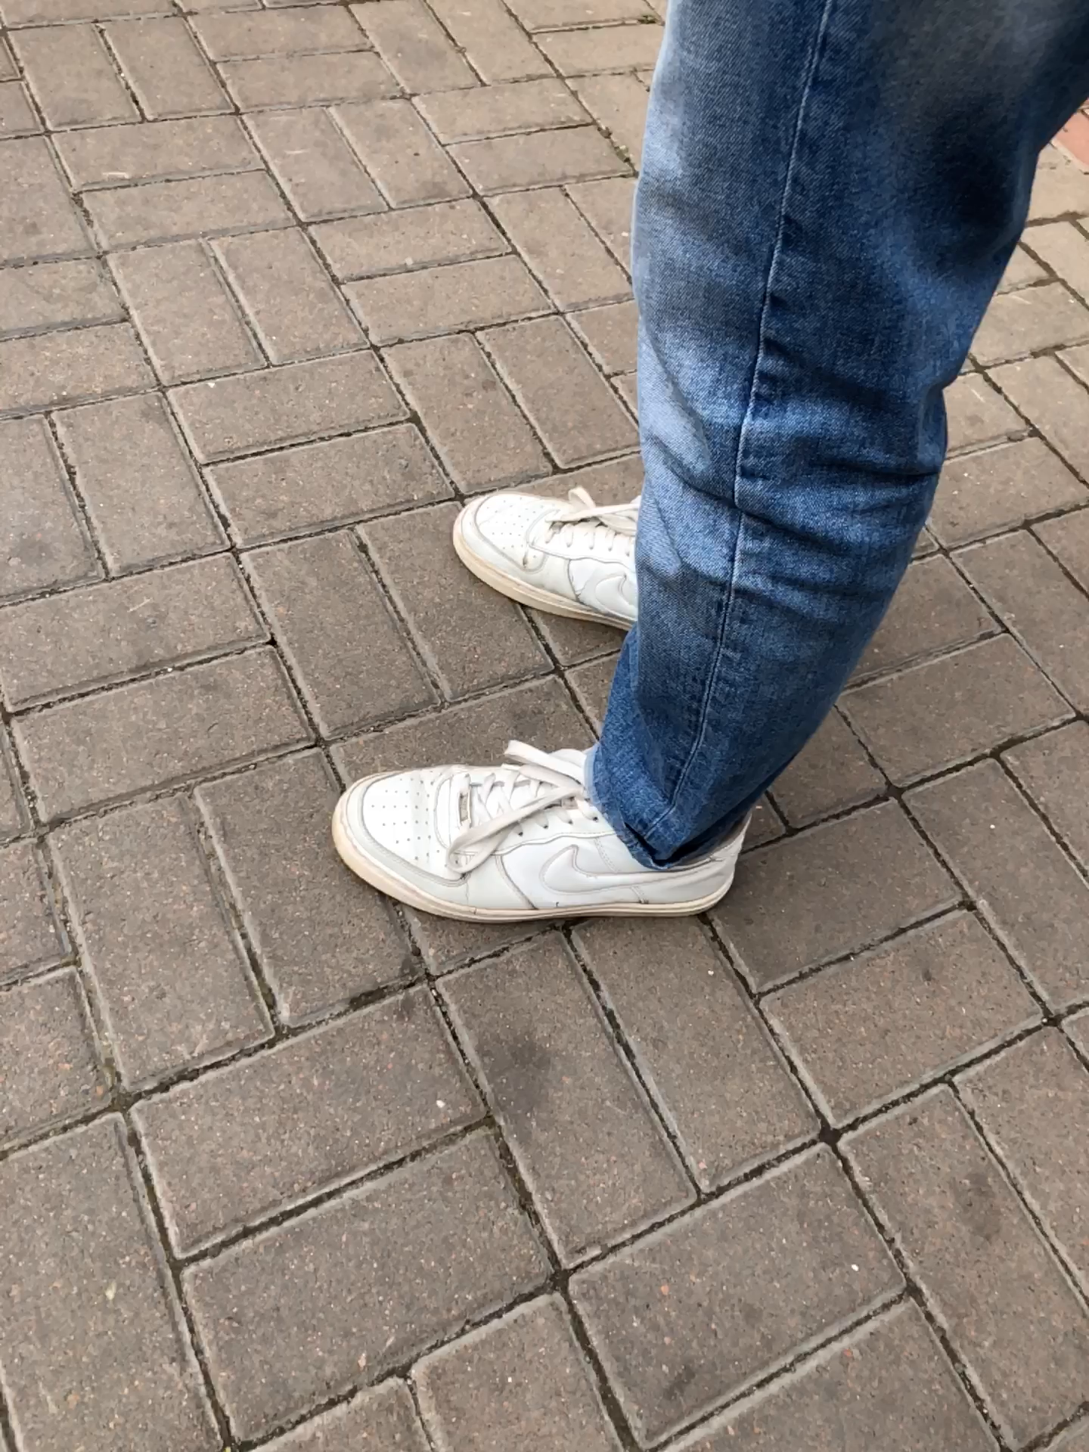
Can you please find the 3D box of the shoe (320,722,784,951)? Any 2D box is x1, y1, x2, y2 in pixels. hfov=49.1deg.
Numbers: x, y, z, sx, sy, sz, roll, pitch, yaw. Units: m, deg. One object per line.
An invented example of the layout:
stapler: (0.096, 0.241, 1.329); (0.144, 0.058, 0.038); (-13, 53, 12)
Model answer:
shoe: (0.004, 0.077, 0.821); (0.300, 0.070, 0.111); (6, 55, -6)

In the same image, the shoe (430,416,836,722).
shoe: (0.069, -0.132, 0.972); (0.300, 0.070, 0.121); (27, 56, 9)
